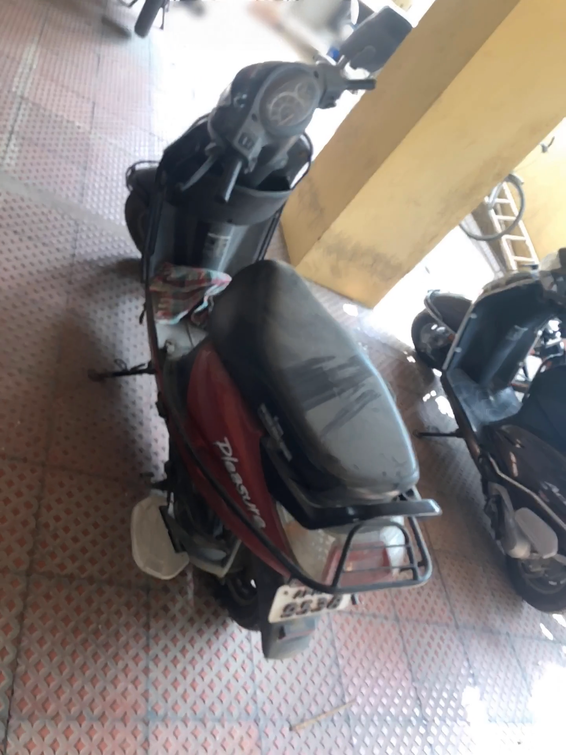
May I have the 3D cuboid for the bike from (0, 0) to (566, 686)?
[{"bbox_3d":[-0.202,-0.278,1.597,0.601,1.030,1.653,7,48,-42],"label":"bike"}]
